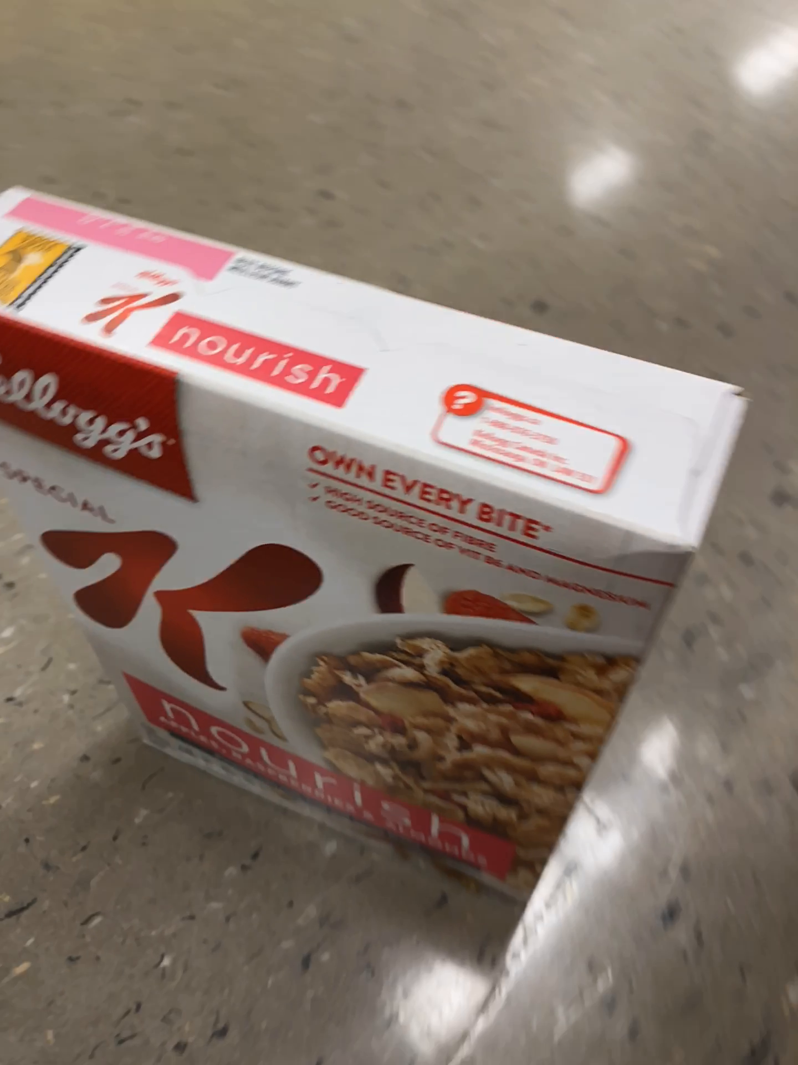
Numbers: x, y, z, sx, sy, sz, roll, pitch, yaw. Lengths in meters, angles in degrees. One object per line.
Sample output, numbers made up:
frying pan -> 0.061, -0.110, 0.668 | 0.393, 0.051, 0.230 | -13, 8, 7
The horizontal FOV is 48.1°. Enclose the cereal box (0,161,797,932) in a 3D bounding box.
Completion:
cereal box -> -0.022, 0.039, 0.312 | 0.210, 0.289, 0.050 | 19, 58, 14
